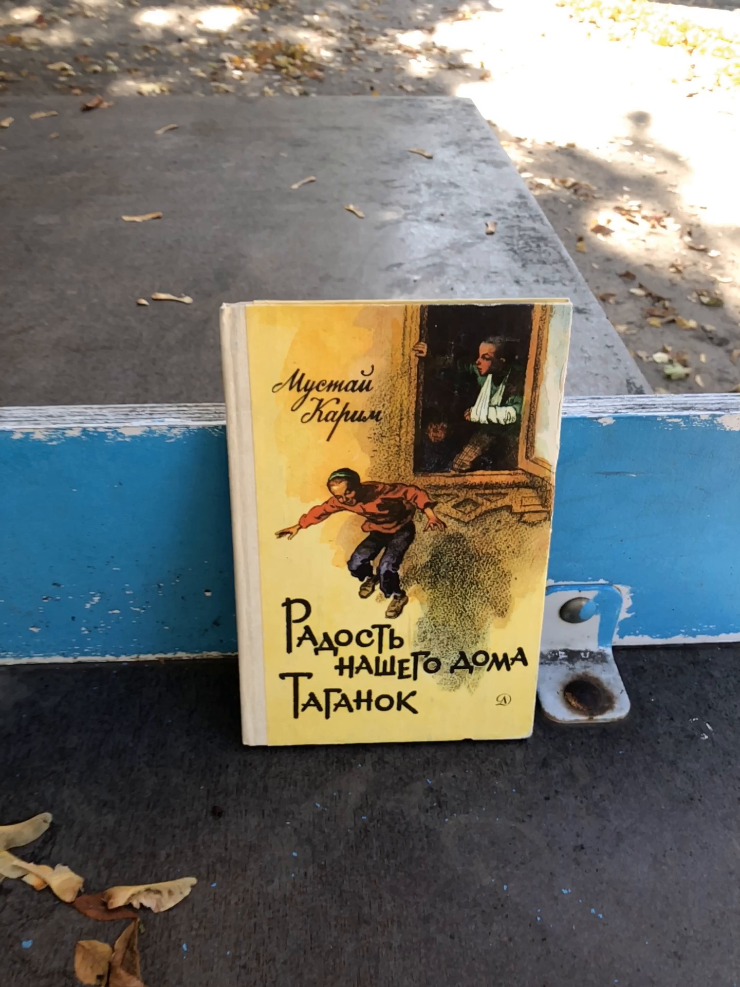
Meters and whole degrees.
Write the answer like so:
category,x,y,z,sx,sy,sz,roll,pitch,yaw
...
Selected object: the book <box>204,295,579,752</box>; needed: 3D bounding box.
category,x,y,z,sx,sy,sz,roll,pitch,yaw
book,0.010,0.020,0.383,0.155,0.218,0.020,-1,19,-2
